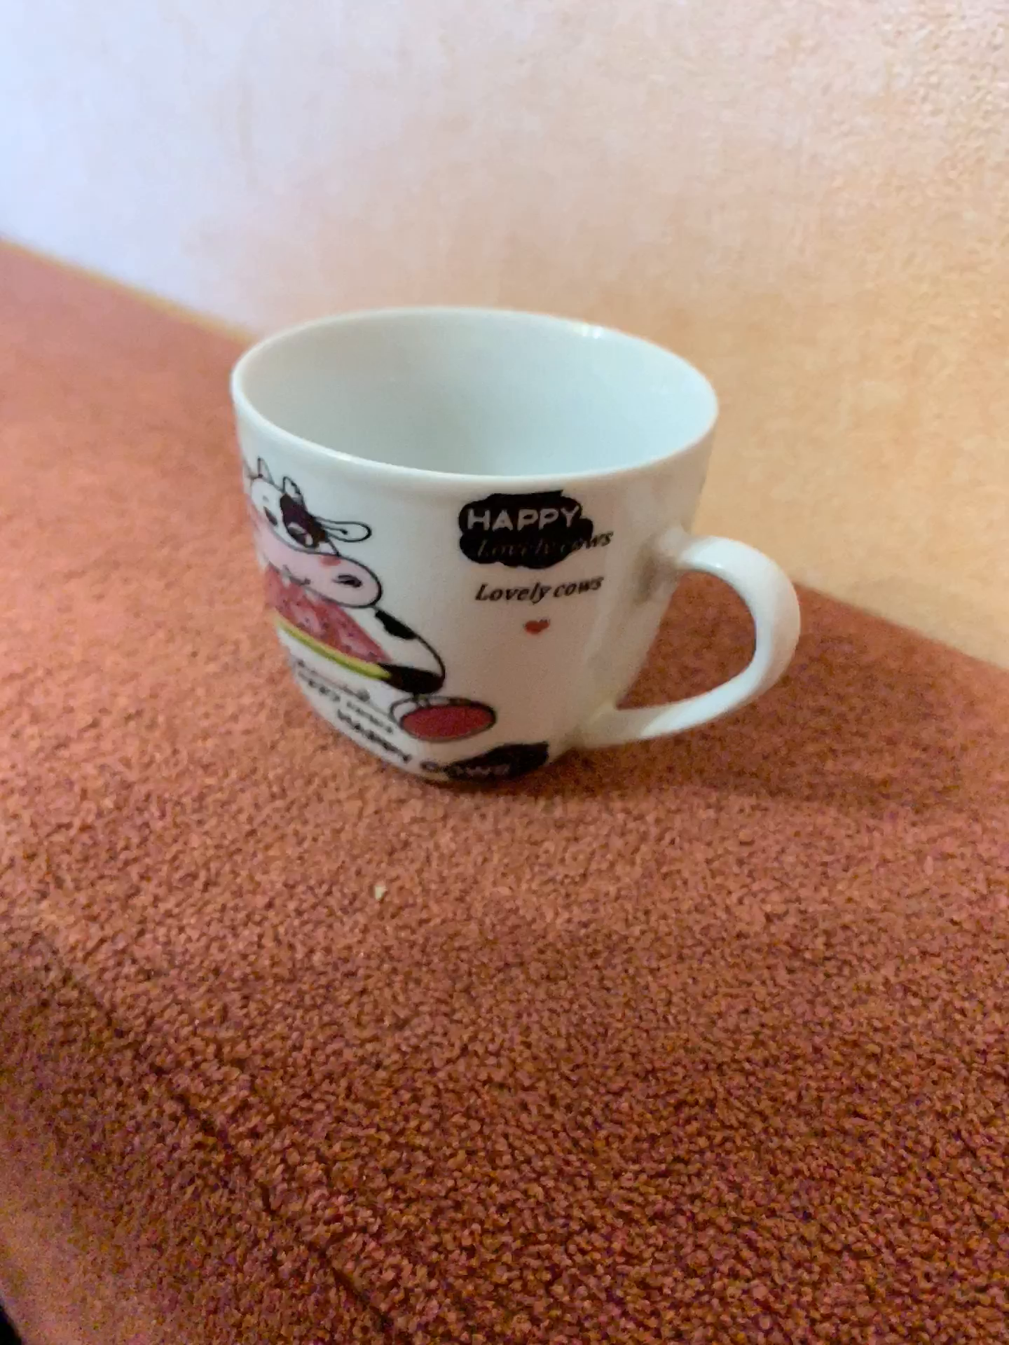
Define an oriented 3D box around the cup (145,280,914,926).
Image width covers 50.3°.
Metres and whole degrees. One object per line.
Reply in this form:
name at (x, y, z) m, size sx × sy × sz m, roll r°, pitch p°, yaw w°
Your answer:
cup at (0.001, -0.022, 0.186) m, size 0.079 × 0.056 × 0.095 m, roll -27°, pitch 43°, yaw -34°
